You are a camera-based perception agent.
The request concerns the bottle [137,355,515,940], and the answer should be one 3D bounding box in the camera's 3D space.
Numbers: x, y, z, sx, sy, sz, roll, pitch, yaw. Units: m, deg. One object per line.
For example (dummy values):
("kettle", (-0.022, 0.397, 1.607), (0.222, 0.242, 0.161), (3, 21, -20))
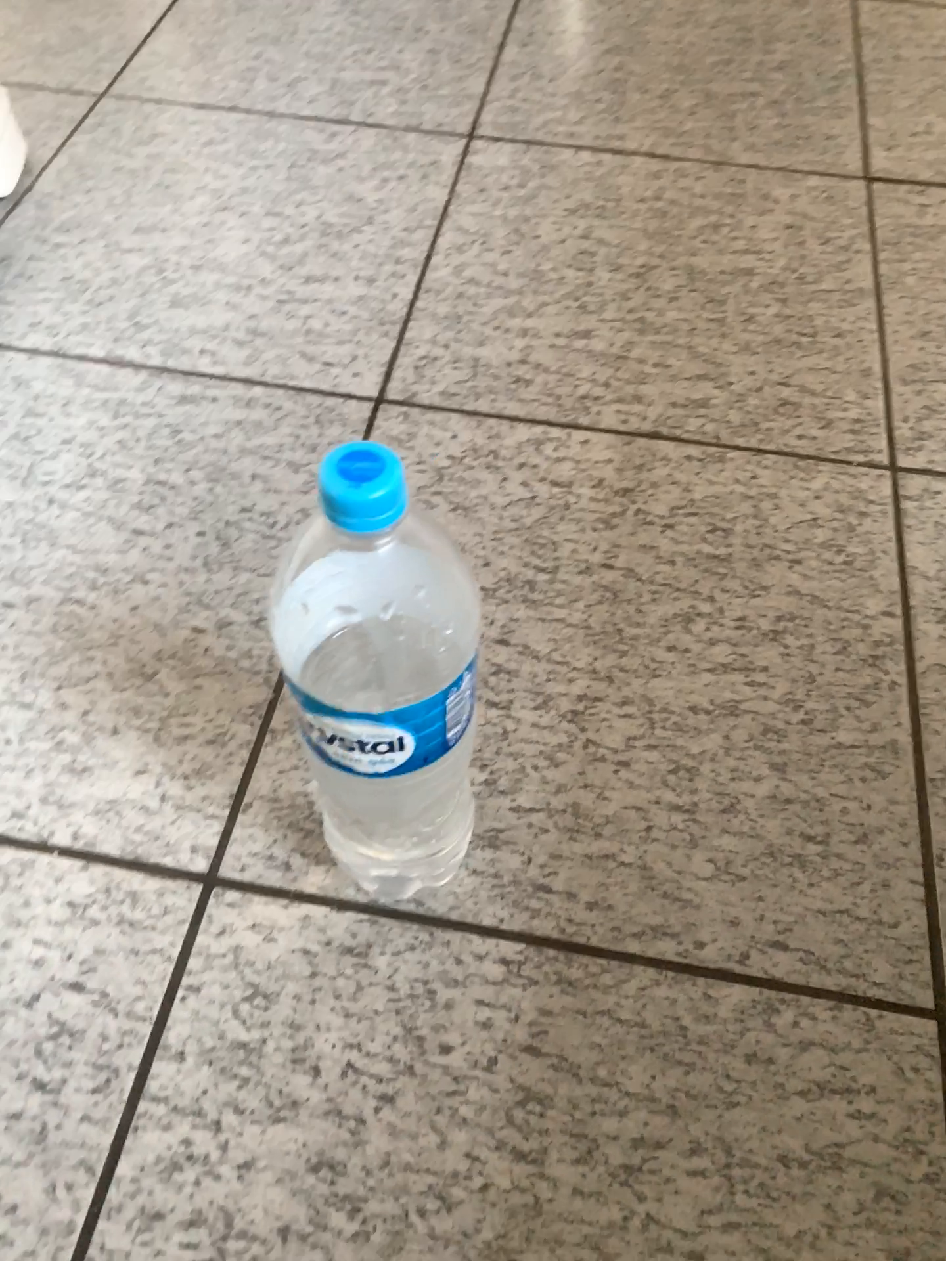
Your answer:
("bottle", (-0.047, 0.034, 0.442), (0.090, 0.299, 0.090), (0, 55, 0))
